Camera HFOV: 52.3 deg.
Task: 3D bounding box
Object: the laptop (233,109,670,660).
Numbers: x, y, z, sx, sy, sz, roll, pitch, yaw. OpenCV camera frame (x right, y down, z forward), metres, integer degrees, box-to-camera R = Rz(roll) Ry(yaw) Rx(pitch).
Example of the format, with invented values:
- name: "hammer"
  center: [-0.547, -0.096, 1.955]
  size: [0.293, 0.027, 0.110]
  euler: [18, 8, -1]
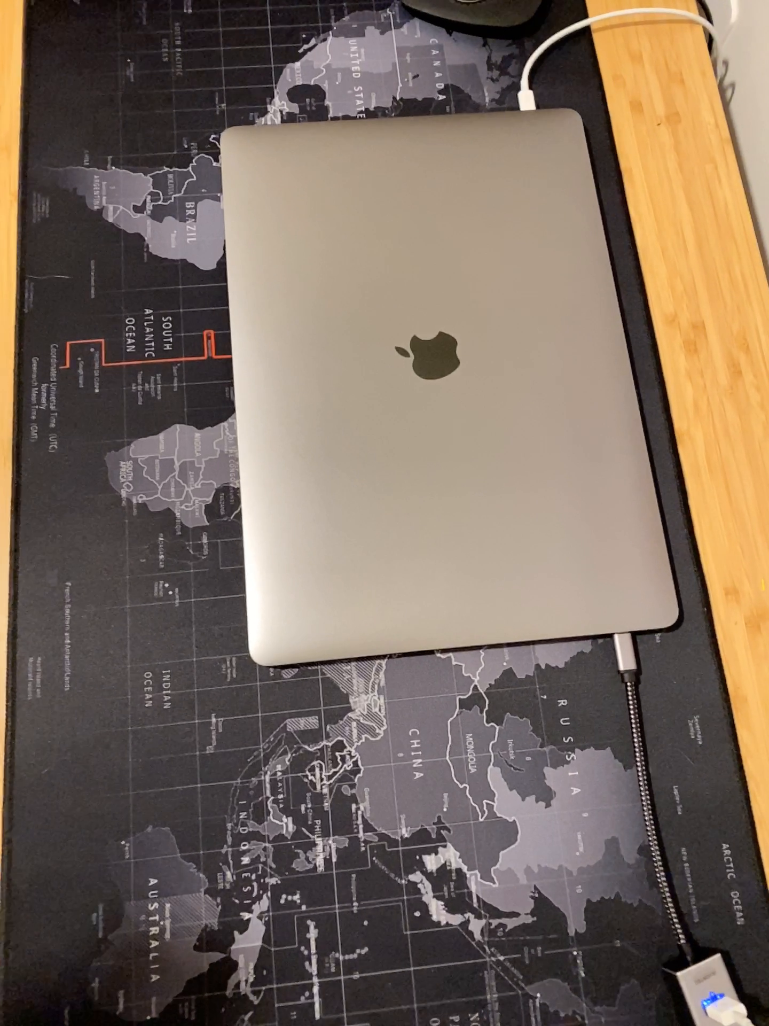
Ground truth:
- name: "laptop"
  center: [0.028, -0.094, 0.465]
  size: [0.226, 0.002, 0.336]
  euler: [-5, 74, -3]
